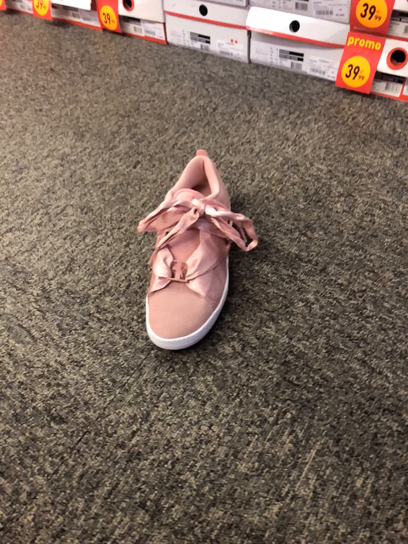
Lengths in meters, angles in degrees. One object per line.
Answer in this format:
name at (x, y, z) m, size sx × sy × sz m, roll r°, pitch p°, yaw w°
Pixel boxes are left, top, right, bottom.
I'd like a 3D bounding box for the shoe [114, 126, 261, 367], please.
shoe at (-0.003, -0.039, 0.524) m, size 0.100 × 0.100 × 0.263 m, roll 7°, pitch 59°, yaw 12°
